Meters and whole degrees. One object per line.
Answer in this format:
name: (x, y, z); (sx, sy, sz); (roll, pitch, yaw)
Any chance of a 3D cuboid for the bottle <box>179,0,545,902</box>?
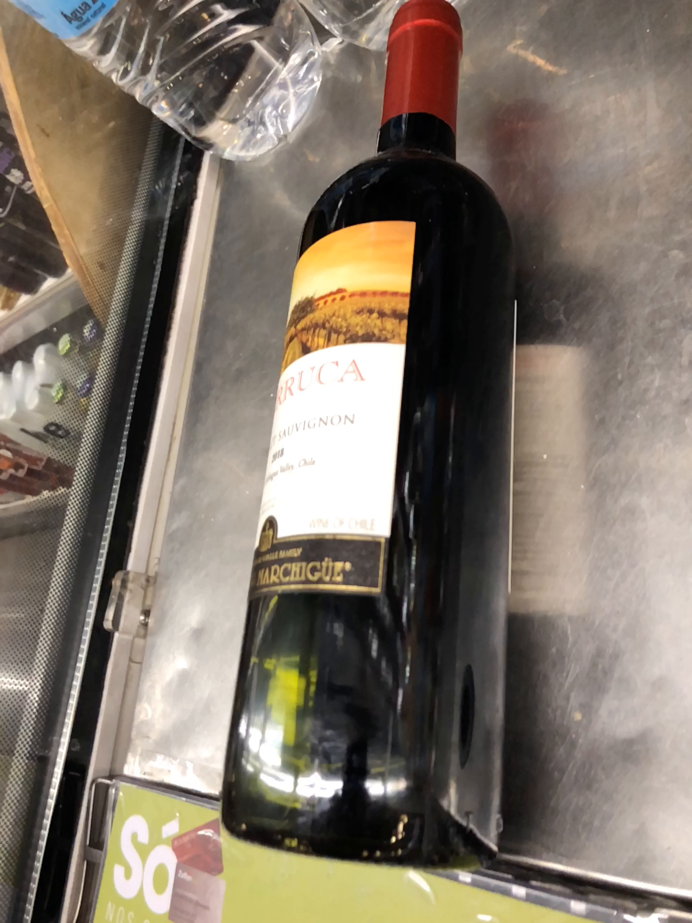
bottle: (0.014, -0.045, 0.246); (0.080, 0.050, 0.310); (-13, 64, 41)
